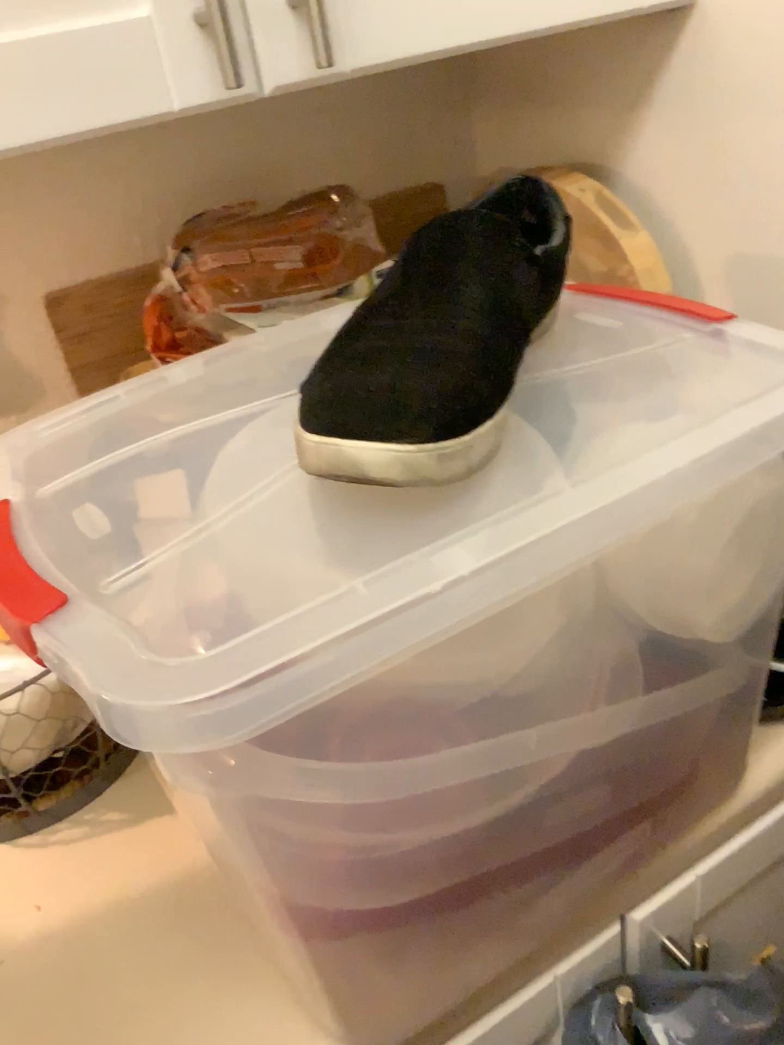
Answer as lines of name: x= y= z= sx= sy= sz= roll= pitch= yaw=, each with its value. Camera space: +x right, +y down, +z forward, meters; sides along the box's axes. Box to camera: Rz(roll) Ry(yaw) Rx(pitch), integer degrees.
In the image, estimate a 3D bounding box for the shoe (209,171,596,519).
shoe: x=0.028 y=-0.106 z=0.443 sx=0.100 sy=0.070 sz=0.270 roll=4 pitch=34 yaw=22
